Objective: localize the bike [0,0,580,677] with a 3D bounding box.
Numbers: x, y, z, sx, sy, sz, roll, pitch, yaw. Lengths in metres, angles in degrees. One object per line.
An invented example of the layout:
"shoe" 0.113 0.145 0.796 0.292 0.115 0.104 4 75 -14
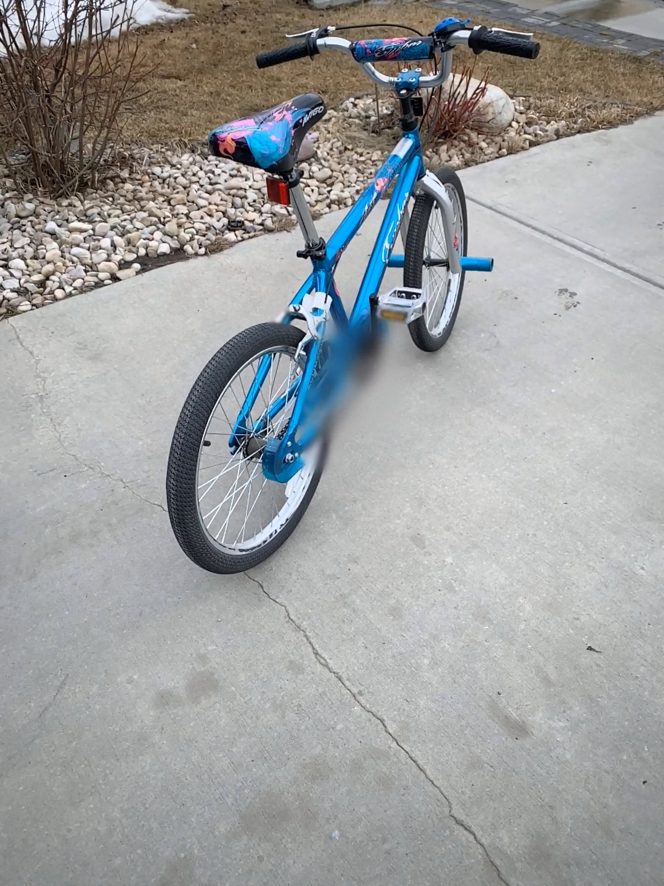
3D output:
"bike" -0.023 -0.422 1.532 0.682 0.837 1.390 19 47 19
